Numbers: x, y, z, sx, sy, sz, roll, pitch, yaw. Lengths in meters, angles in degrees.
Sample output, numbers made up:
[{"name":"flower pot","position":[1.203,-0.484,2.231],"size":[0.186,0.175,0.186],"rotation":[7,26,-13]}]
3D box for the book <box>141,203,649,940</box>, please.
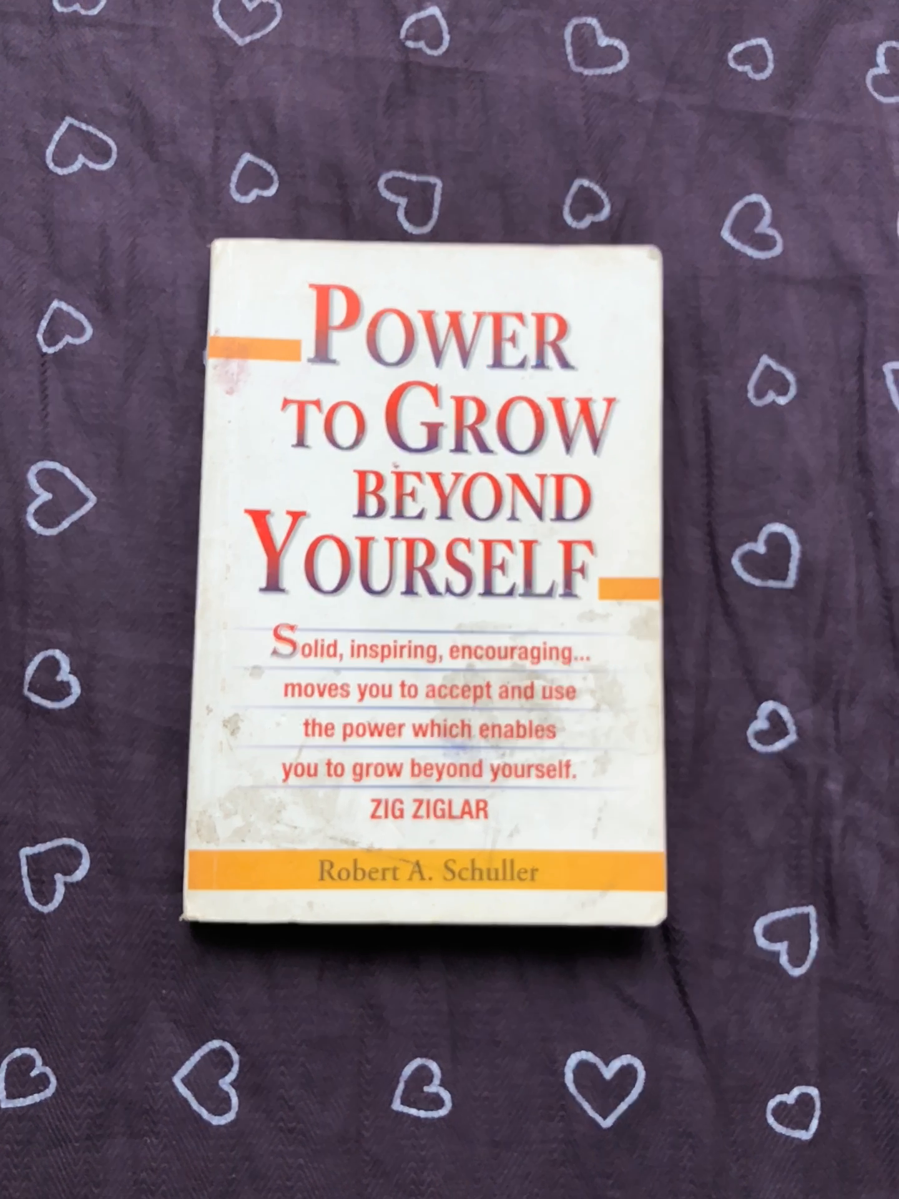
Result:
[{"name":"book","position":[-0.011,-0.007,0.265],"size":[0.120,0.030,0.180],"rotation":[2,83,-6]}]
